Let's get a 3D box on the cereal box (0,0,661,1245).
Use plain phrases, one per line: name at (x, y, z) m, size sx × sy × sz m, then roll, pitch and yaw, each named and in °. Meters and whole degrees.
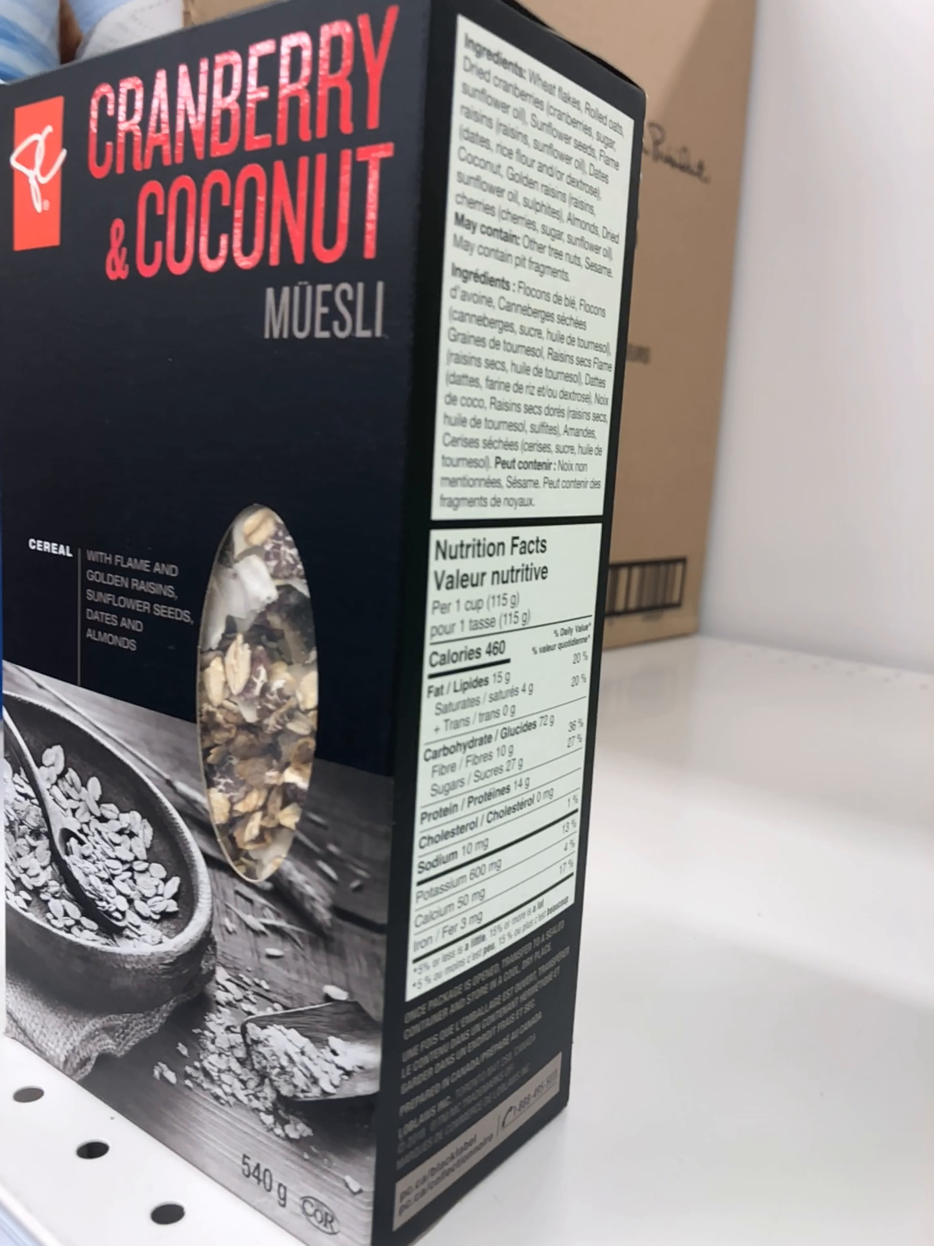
cereal box at (-0.039, -0.010, 0.214) m, size 0.120 × 0.200 × 0.070 m, roll 9°, pitch 9°, yaw 37°
